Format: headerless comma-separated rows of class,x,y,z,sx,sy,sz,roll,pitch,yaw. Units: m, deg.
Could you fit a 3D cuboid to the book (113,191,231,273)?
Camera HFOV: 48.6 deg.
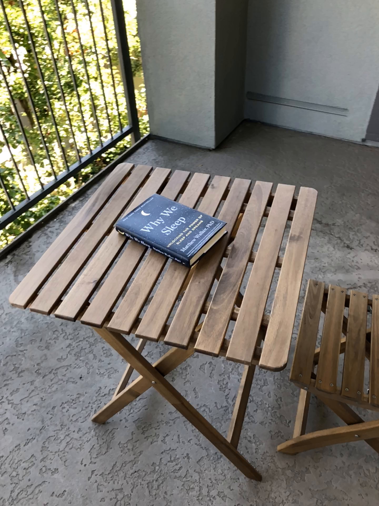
book,-0.043,-0.060,1.038,0.235,0.029,0.170,27,51,28
